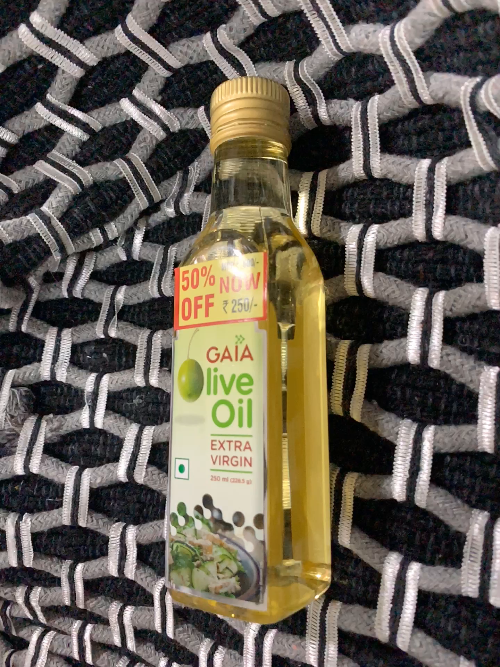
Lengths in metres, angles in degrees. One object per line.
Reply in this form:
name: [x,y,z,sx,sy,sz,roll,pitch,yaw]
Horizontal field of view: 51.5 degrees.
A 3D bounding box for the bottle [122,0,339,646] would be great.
bottle: [-0.004,-0.009,0.180,0.050,0.050,0.190,-5,81,34]
